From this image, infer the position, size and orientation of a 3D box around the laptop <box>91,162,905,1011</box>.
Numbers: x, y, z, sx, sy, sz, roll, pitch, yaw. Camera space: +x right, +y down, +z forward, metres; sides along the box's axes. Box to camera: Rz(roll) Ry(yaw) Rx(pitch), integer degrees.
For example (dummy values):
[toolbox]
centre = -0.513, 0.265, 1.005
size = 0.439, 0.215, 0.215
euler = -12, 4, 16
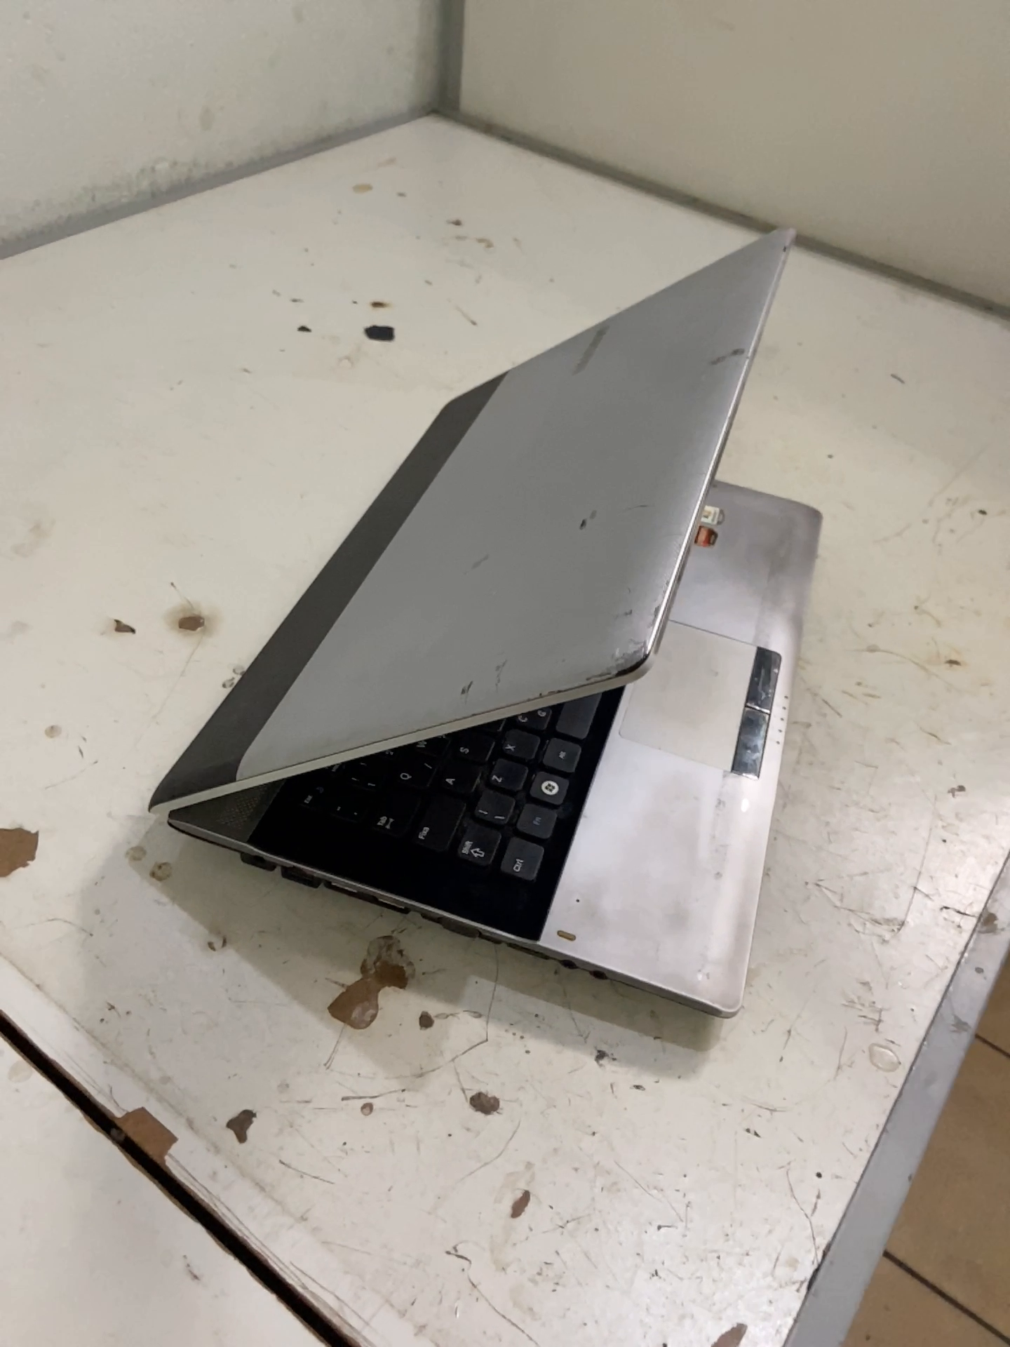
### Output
[laptop]
centre = 0.032, -0.075, 0.468
size = 0.233, 0.150, 0.346
euler = 16, 44, 9
